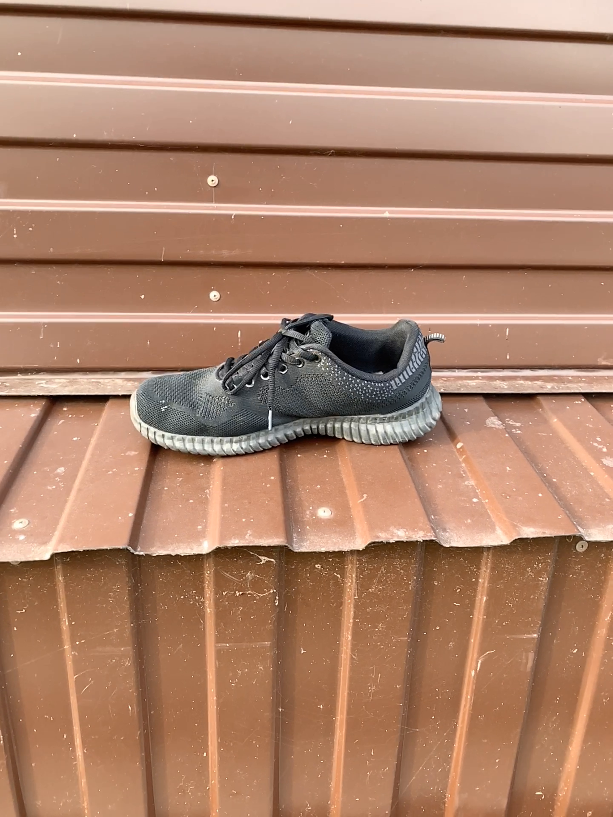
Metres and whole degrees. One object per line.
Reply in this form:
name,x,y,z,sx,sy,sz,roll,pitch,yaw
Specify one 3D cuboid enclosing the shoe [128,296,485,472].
shoe,-0.006,-0.030,0.602,0.300,0.119,0.121,-2,29,-9
